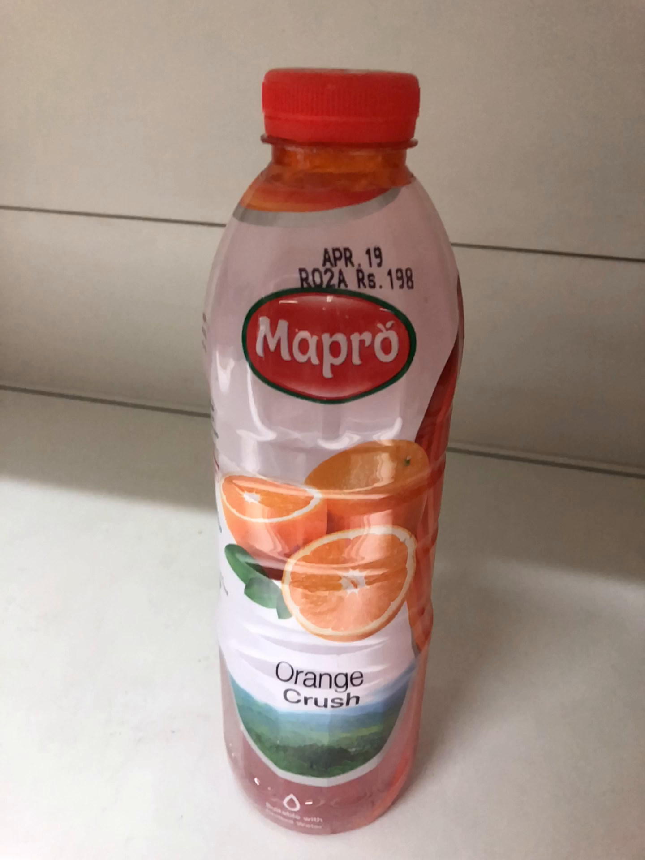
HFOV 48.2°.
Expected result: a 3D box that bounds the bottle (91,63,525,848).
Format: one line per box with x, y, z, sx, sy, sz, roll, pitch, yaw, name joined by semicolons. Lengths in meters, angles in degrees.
-0.004;0.021;0.237;0.090;0.248;0.070;4;27;4;bottle
